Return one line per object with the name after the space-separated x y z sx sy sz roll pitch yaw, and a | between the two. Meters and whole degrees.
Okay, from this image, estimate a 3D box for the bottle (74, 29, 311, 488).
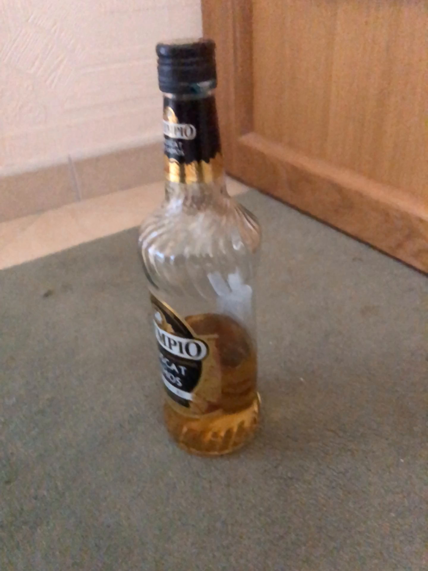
-0.008 -0.004 0.326 0.090 0.288 0.090 -2 34 2 | bottle
